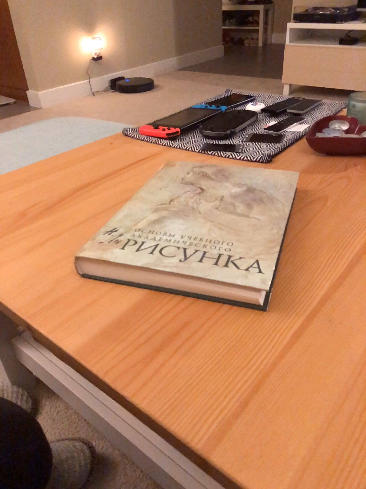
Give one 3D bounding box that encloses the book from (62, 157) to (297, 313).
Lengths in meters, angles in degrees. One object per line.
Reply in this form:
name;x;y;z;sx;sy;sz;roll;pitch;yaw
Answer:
book;0.018;-0.037;0.506;0.214;0.030;0.273;9;35;16
